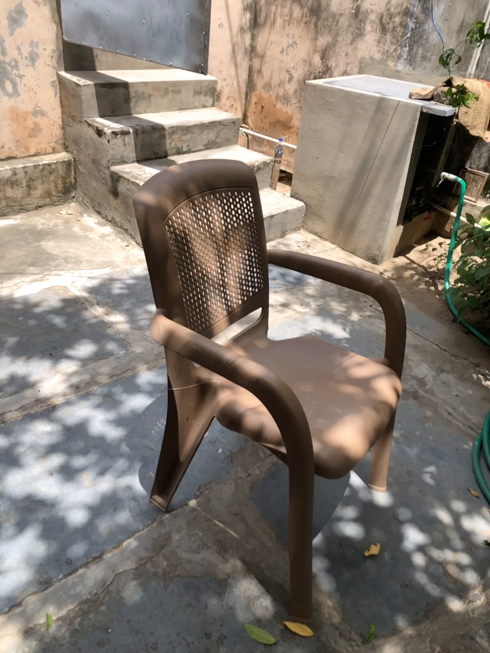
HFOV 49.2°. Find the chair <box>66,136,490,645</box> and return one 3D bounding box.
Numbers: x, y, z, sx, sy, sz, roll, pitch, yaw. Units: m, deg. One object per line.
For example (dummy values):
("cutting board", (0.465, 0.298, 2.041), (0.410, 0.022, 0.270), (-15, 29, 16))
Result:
("chair", (0.081, 0.083, 1.305), (0.680, 0.825, 0.634), (25, 37, 26))
